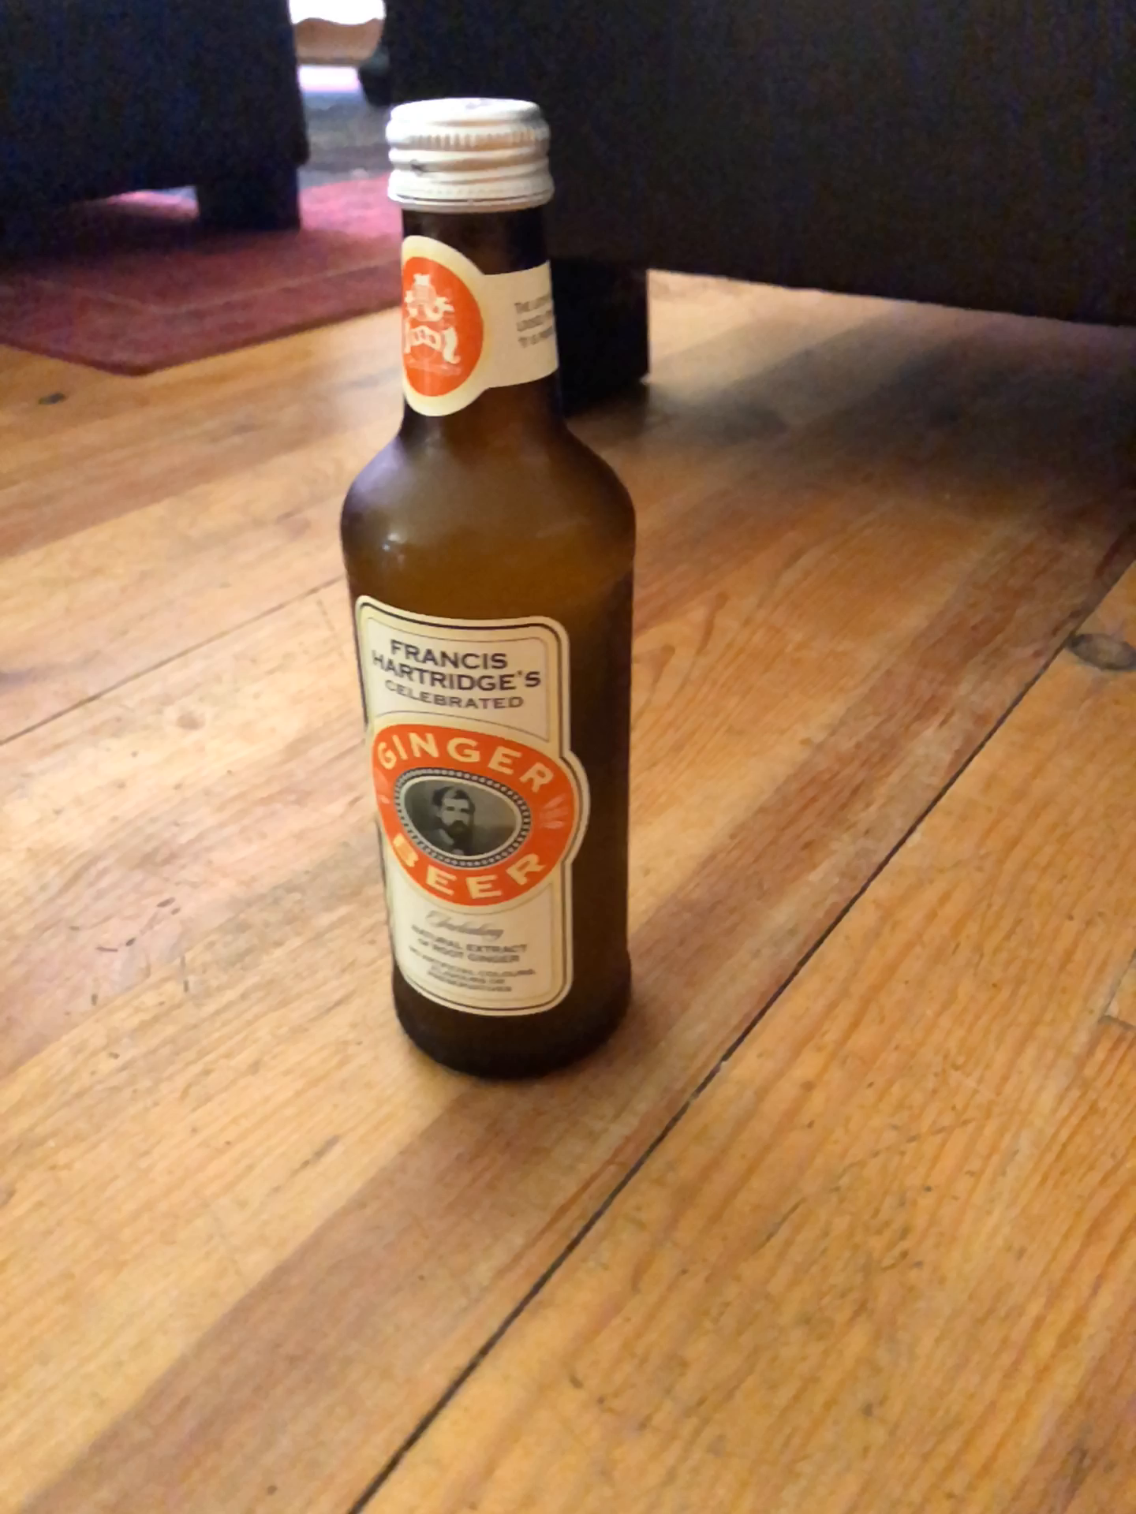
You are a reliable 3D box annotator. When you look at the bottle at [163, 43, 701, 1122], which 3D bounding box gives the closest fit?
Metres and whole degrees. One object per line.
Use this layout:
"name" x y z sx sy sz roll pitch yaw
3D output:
"bottle" -0.017 -0.028 0.263 0.070 0.209 0.060 10 33 17
